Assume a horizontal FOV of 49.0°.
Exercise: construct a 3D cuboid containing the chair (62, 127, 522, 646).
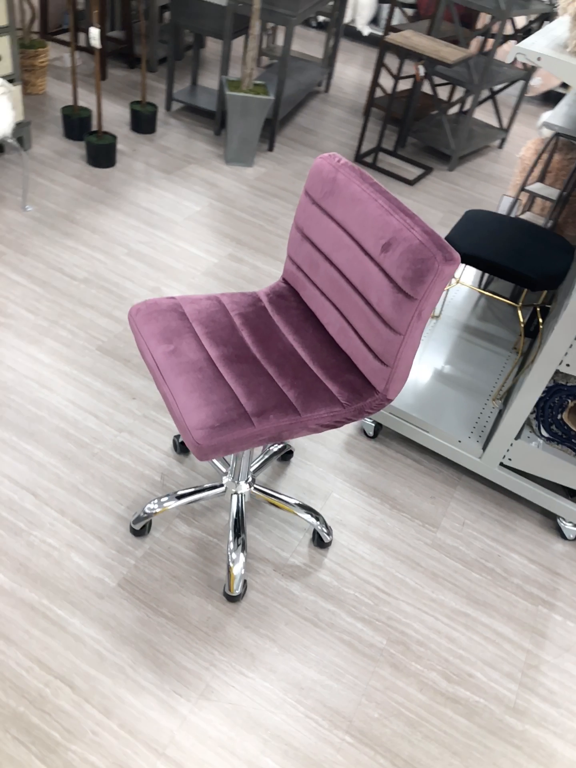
[{"bbox_3d":[-0.075,-0.015,1.331,0.578,0.800,0.589,-14,47,-28],"label":"chair"}]
